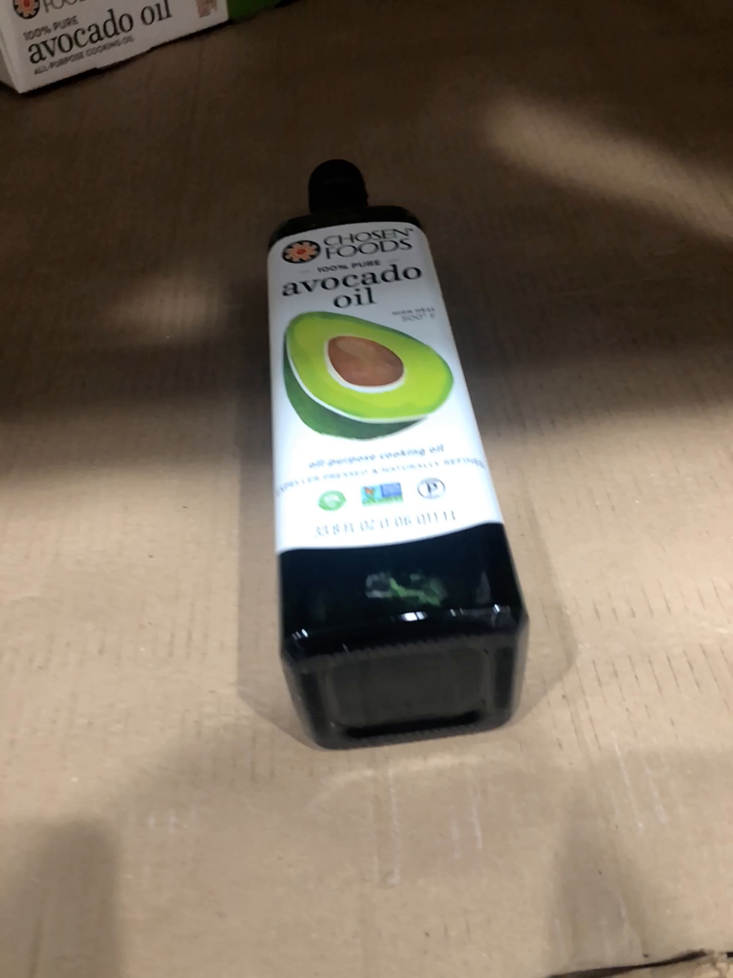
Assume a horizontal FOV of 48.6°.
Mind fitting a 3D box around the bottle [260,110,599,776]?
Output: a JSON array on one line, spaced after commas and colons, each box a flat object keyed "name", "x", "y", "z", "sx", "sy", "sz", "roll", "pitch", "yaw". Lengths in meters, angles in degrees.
[{"name": "bottle", "x": 0.004, "y": -0.053, "z": 0.348, "sx": 0.086, "sy": 0.074, "sz": 0.321, "roll": -6, "pitch": 48, "yaw": -1}]
